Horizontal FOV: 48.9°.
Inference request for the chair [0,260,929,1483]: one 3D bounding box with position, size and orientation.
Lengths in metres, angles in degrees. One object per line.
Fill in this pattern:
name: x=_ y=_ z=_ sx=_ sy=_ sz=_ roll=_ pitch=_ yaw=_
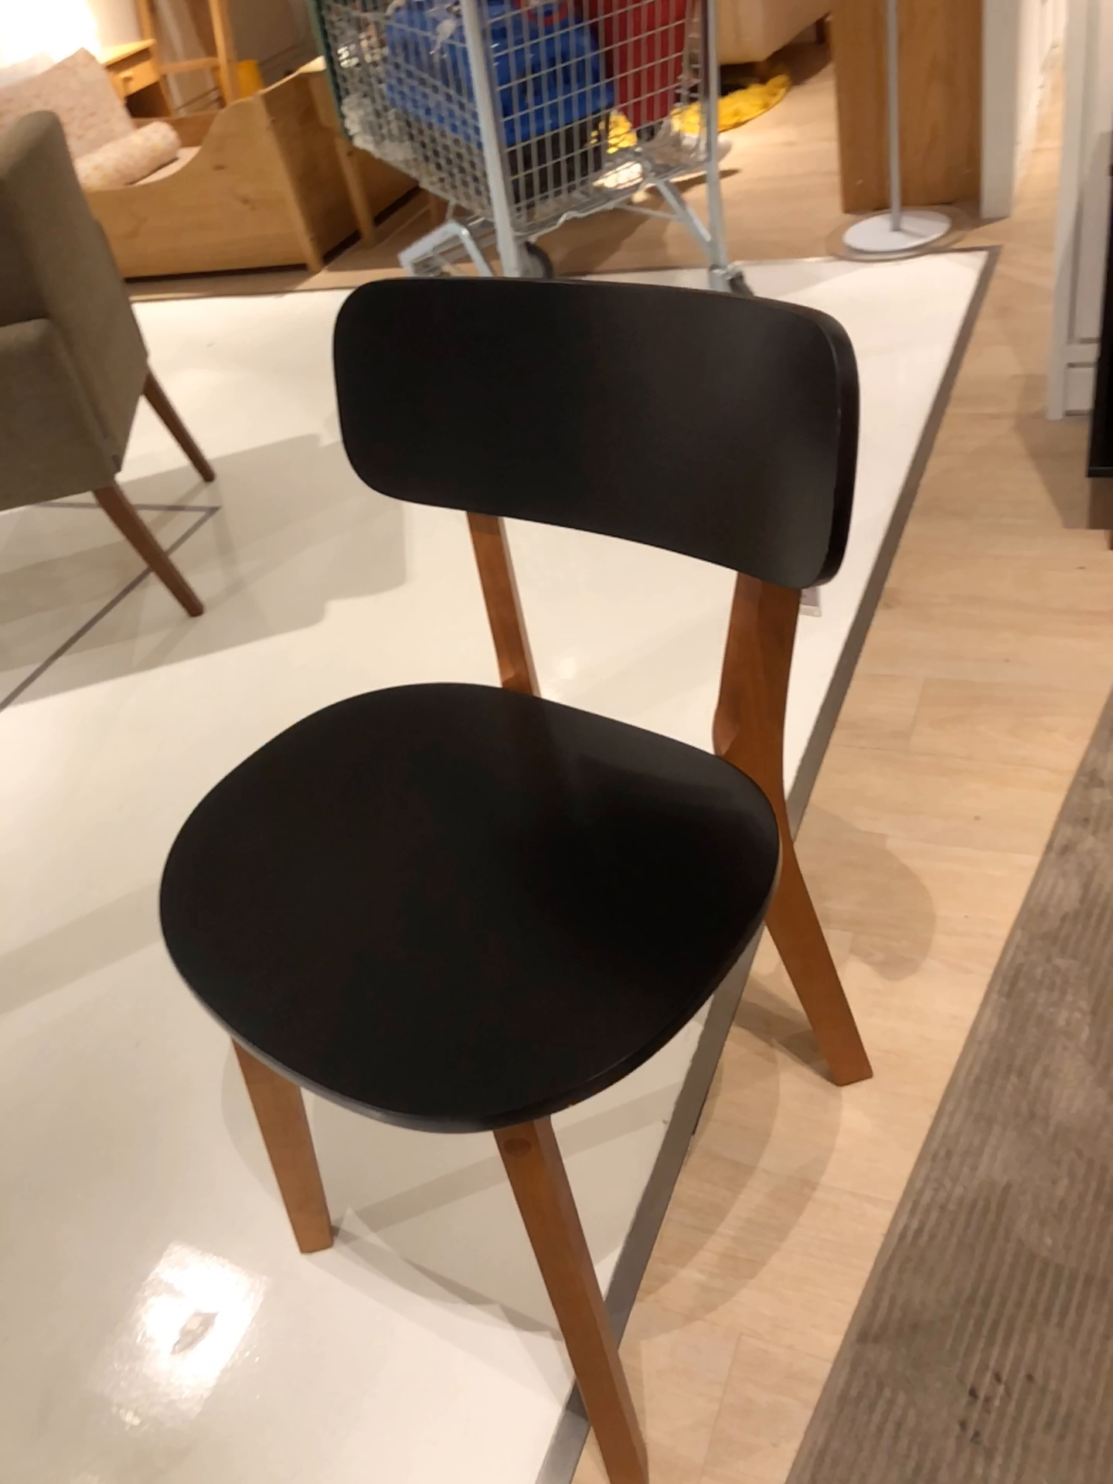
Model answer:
chair: x=-0.042 y=0.089 z=0.927 sx=0.462 sy=0.705 sz=0.482 roll=17 pitch=49 yaw=34
